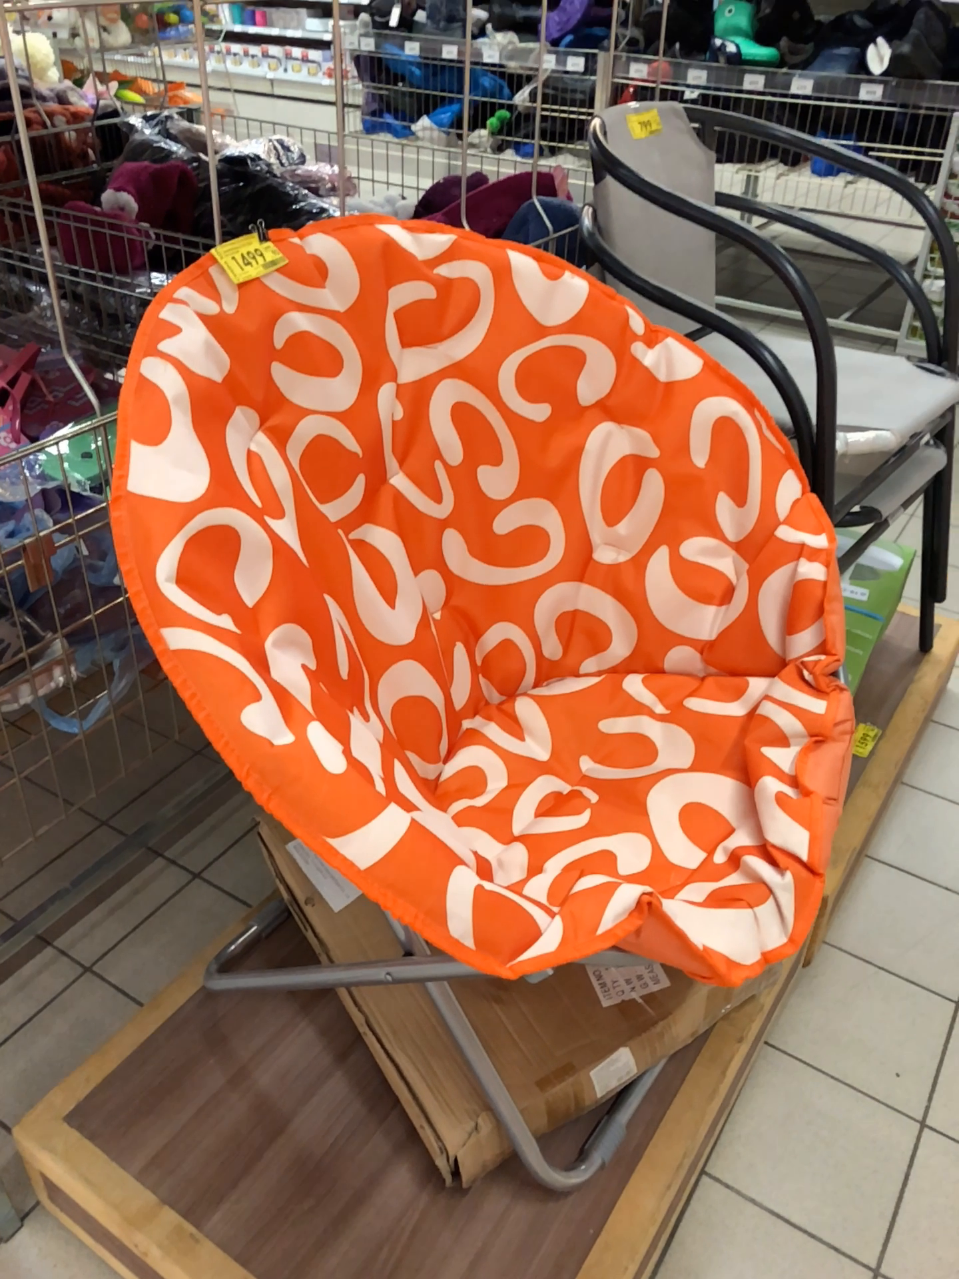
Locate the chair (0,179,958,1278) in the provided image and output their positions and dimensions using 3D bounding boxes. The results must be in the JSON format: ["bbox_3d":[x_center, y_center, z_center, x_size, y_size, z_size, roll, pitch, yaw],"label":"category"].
[{"bbox_3d":[0.003,-0.028,1.027,0.711,0.606,0.738,22,38,27],"label":"chair"}]
